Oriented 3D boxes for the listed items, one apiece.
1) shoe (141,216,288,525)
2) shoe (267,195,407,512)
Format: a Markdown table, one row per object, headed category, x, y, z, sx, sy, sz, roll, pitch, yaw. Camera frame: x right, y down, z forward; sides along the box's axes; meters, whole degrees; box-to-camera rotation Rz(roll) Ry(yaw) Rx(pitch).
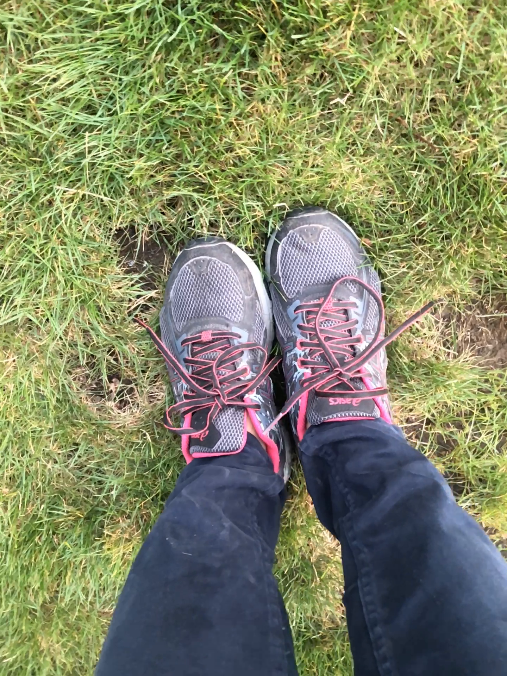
| category | x | y | z | sx | sy | sz | roll | pitch | yaw |
| --- | --- | --- | --- | --- | --- | --- | --- | --- | --- |
| shoe | -0.026 | 0.023 | 0.506 | 0.088 | 0.120 | 0.245 | -6 | 98 | 5 |
| shoe | 0.071 | 0.009 | 0.503 | 0.090 | 0.120 | 0.250 | -6 | 100 | 2 |
